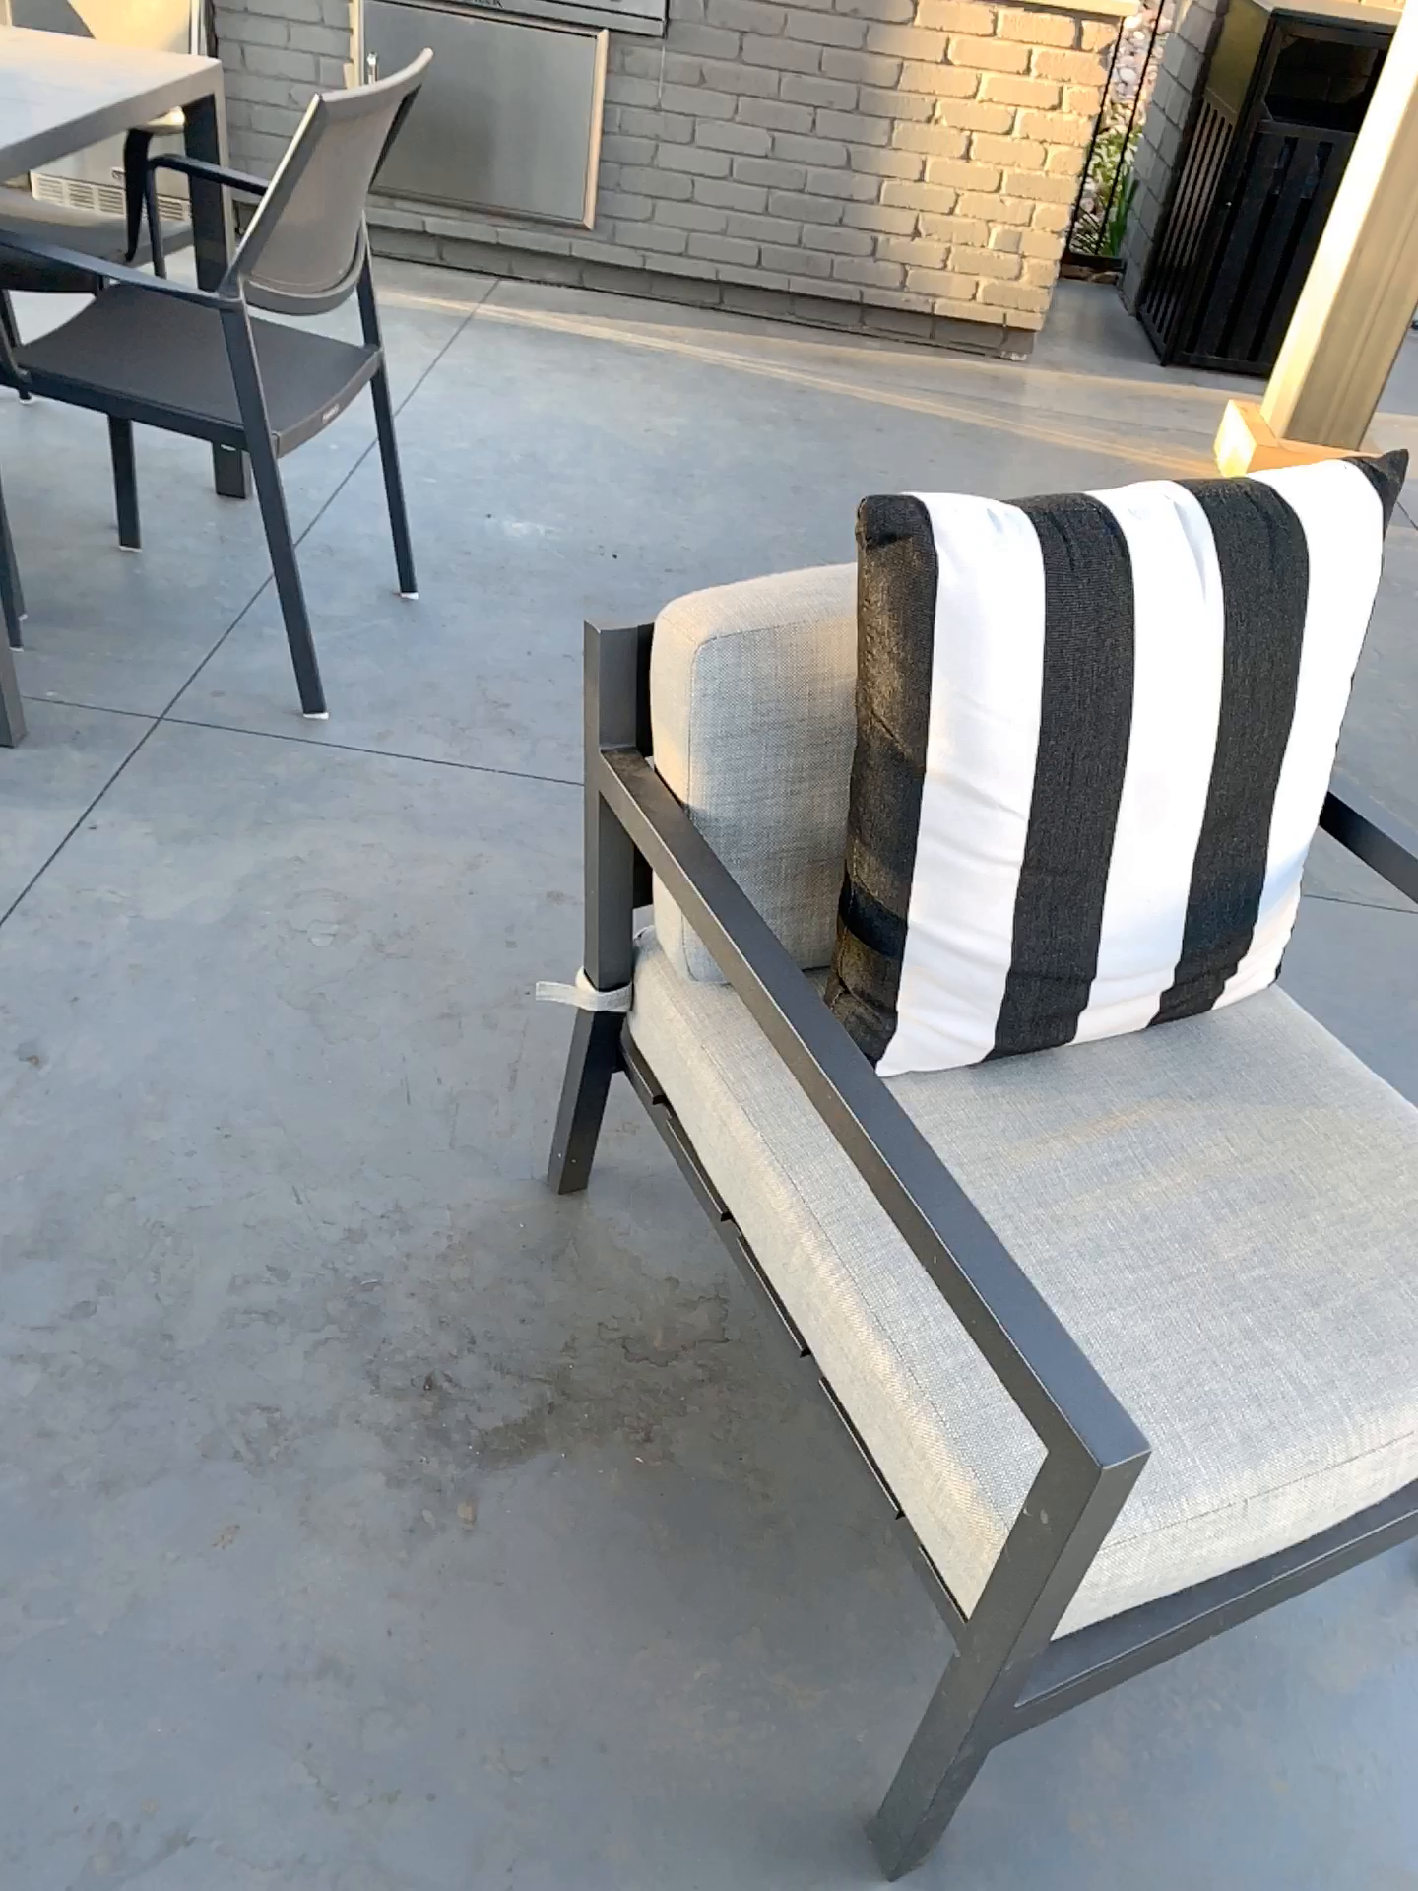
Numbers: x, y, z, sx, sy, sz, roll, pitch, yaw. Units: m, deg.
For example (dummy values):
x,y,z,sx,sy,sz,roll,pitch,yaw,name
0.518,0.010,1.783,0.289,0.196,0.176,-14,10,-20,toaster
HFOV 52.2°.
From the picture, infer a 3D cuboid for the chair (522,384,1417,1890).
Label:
x,y,z,sx,sy,sz,roll,pitch,yaw,name
0.342,0.089,1.175,0.731,0.796,0.753,-12,43,-24,chair
